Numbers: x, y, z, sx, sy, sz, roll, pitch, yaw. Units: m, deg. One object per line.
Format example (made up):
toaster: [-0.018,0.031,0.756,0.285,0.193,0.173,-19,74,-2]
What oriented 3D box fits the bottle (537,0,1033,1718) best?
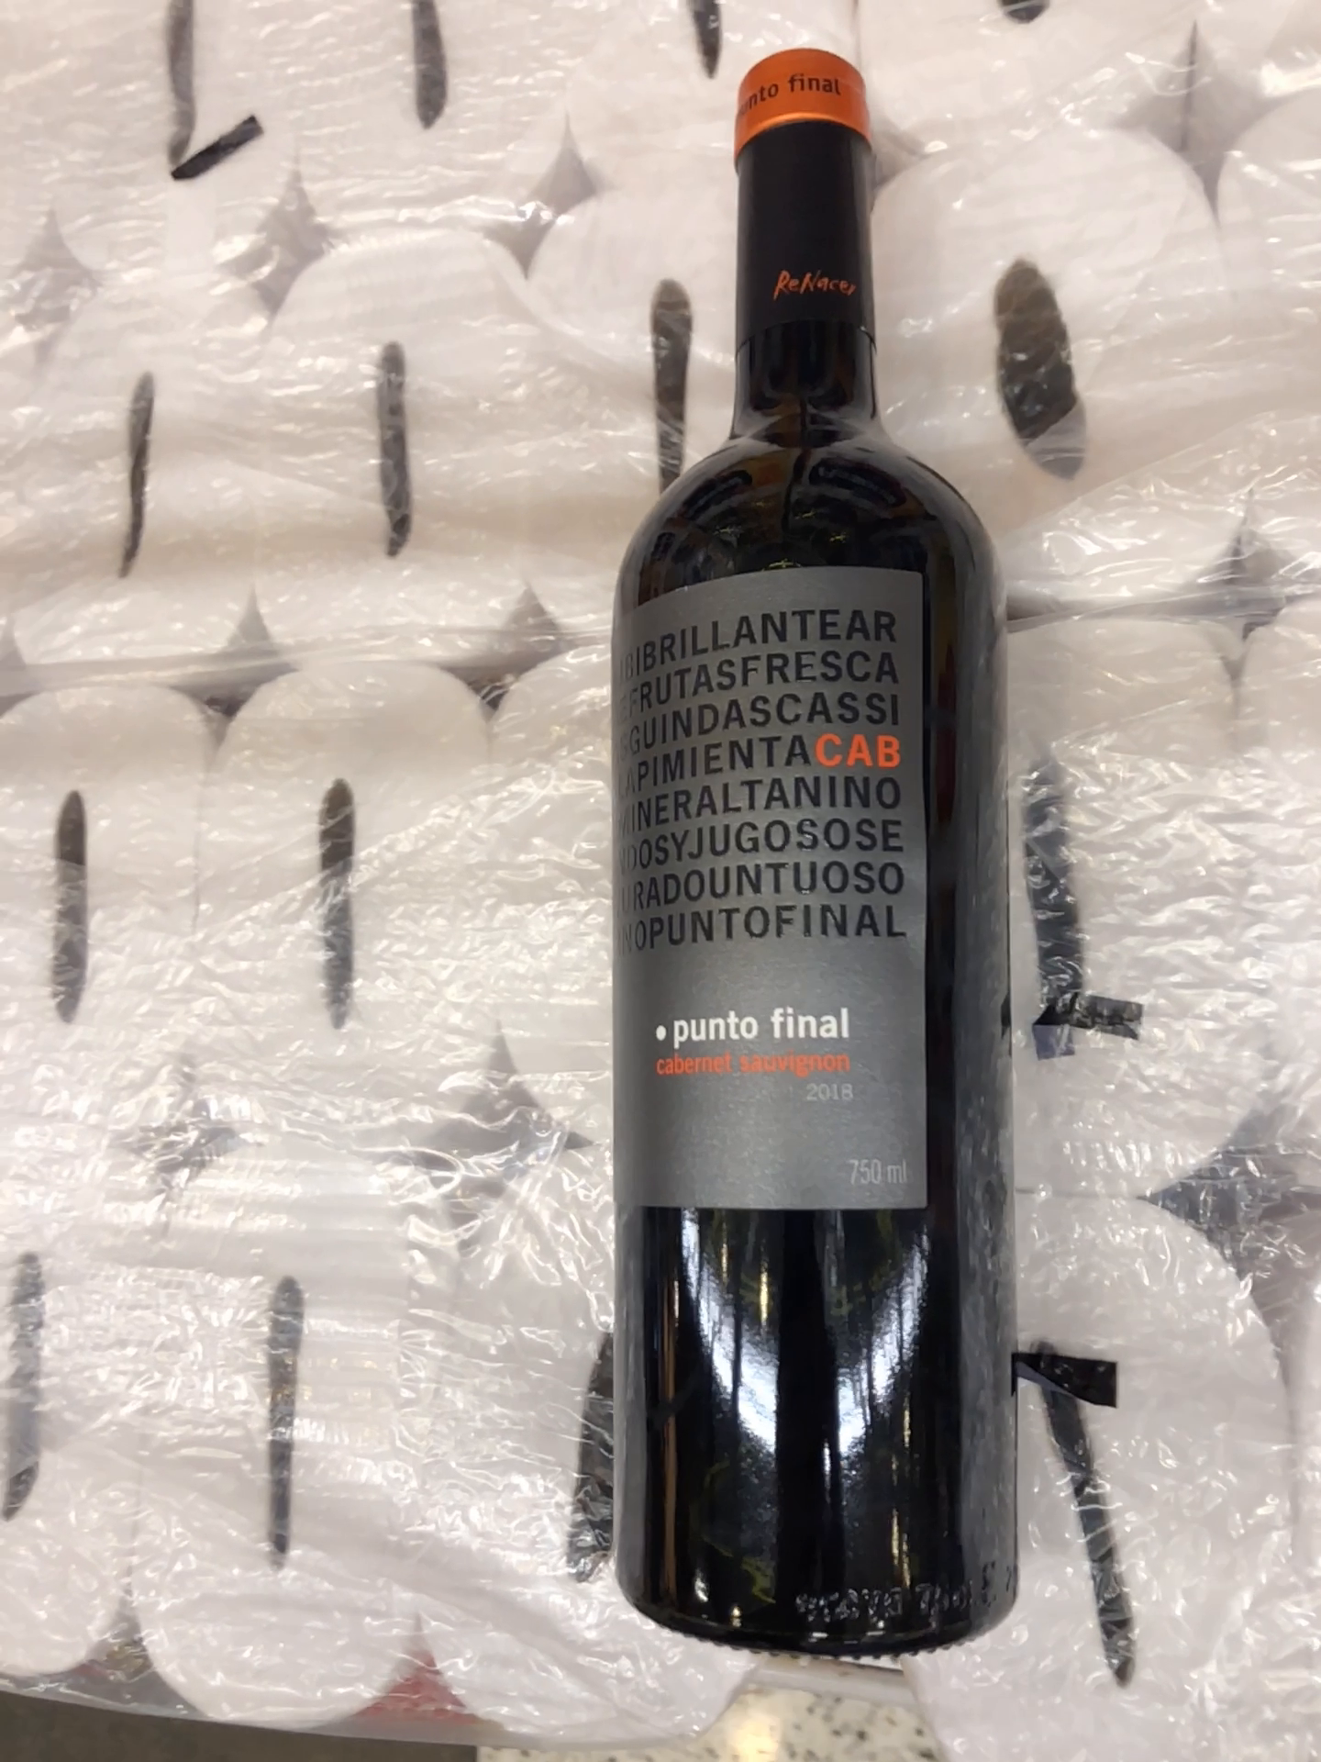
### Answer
bottle: [0.026,-0.029,0.272,0.070,0.060,0.310,-3,77,16]
